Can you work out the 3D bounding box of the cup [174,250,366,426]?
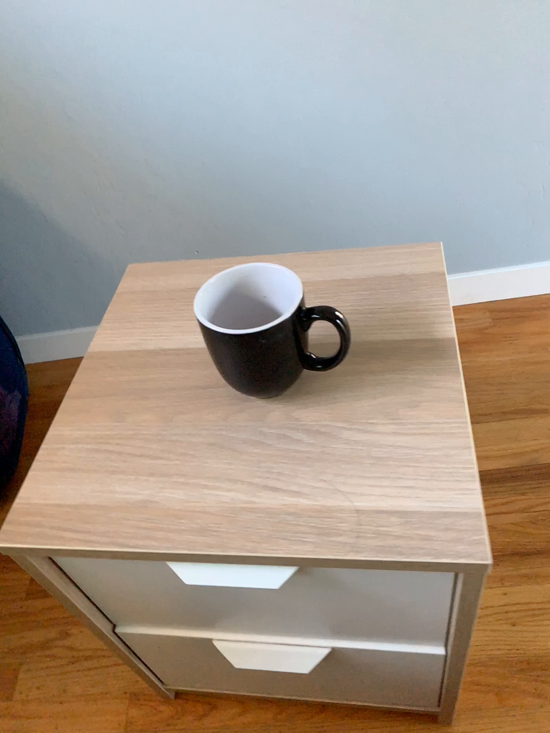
[{"bbox_3d":[0.004,-0.029,0.534,0.140,0.119,0.100,6,48,19],"label":"cup"}]
